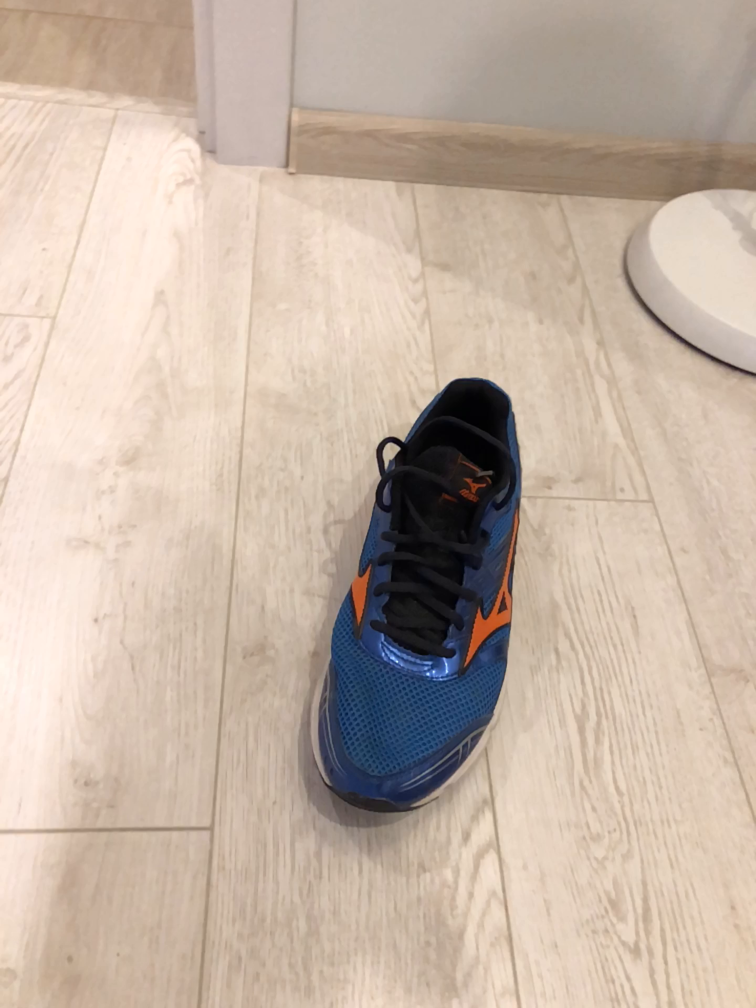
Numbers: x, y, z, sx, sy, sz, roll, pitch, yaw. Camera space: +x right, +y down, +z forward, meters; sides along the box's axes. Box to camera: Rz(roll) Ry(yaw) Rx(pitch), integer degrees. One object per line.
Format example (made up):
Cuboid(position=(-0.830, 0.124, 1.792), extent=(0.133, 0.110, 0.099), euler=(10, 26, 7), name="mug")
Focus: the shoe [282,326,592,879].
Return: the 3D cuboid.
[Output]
Cuboid(position=(0.045, 0.043, 0.511), extent=(0.116, 0.119, 0.302), euler=(15, 51, 3), name="shoe")
